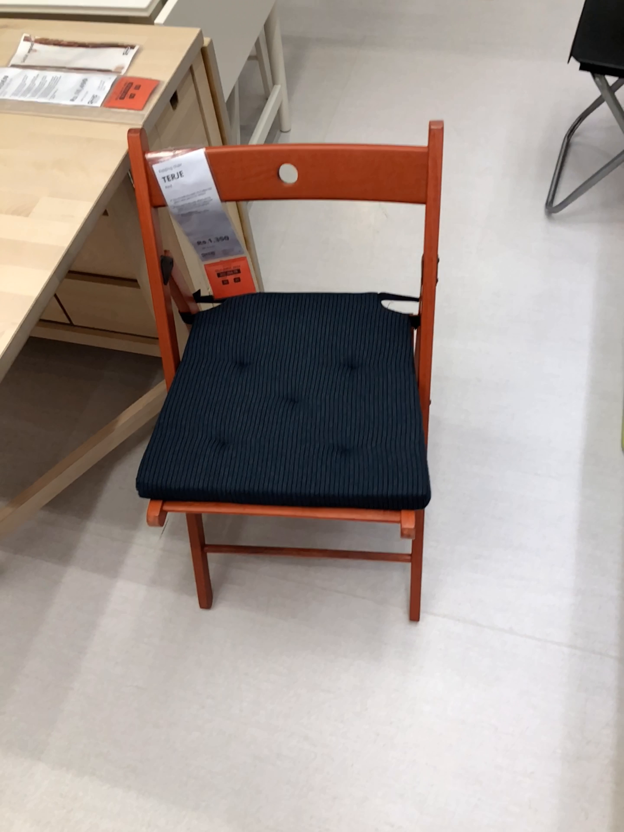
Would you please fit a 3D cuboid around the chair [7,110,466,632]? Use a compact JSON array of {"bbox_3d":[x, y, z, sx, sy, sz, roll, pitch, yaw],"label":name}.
[{"bbox_3d":[-0.028,-0.017,1.118,0.470,0.717,0.502,2,58,8],"label":"chair"}]
